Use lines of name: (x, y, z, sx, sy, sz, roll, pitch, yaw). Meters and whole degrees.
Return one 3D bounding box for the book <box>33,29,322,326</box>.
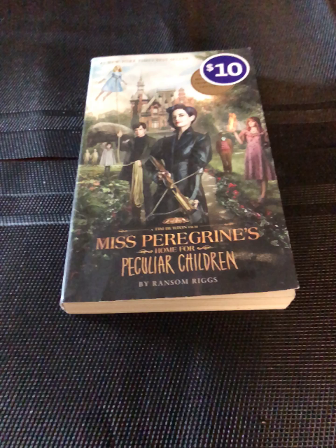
book: (0.003, -0.047, 0.284, 0.160, 0.050, 0.231, -2, 62, 2)
